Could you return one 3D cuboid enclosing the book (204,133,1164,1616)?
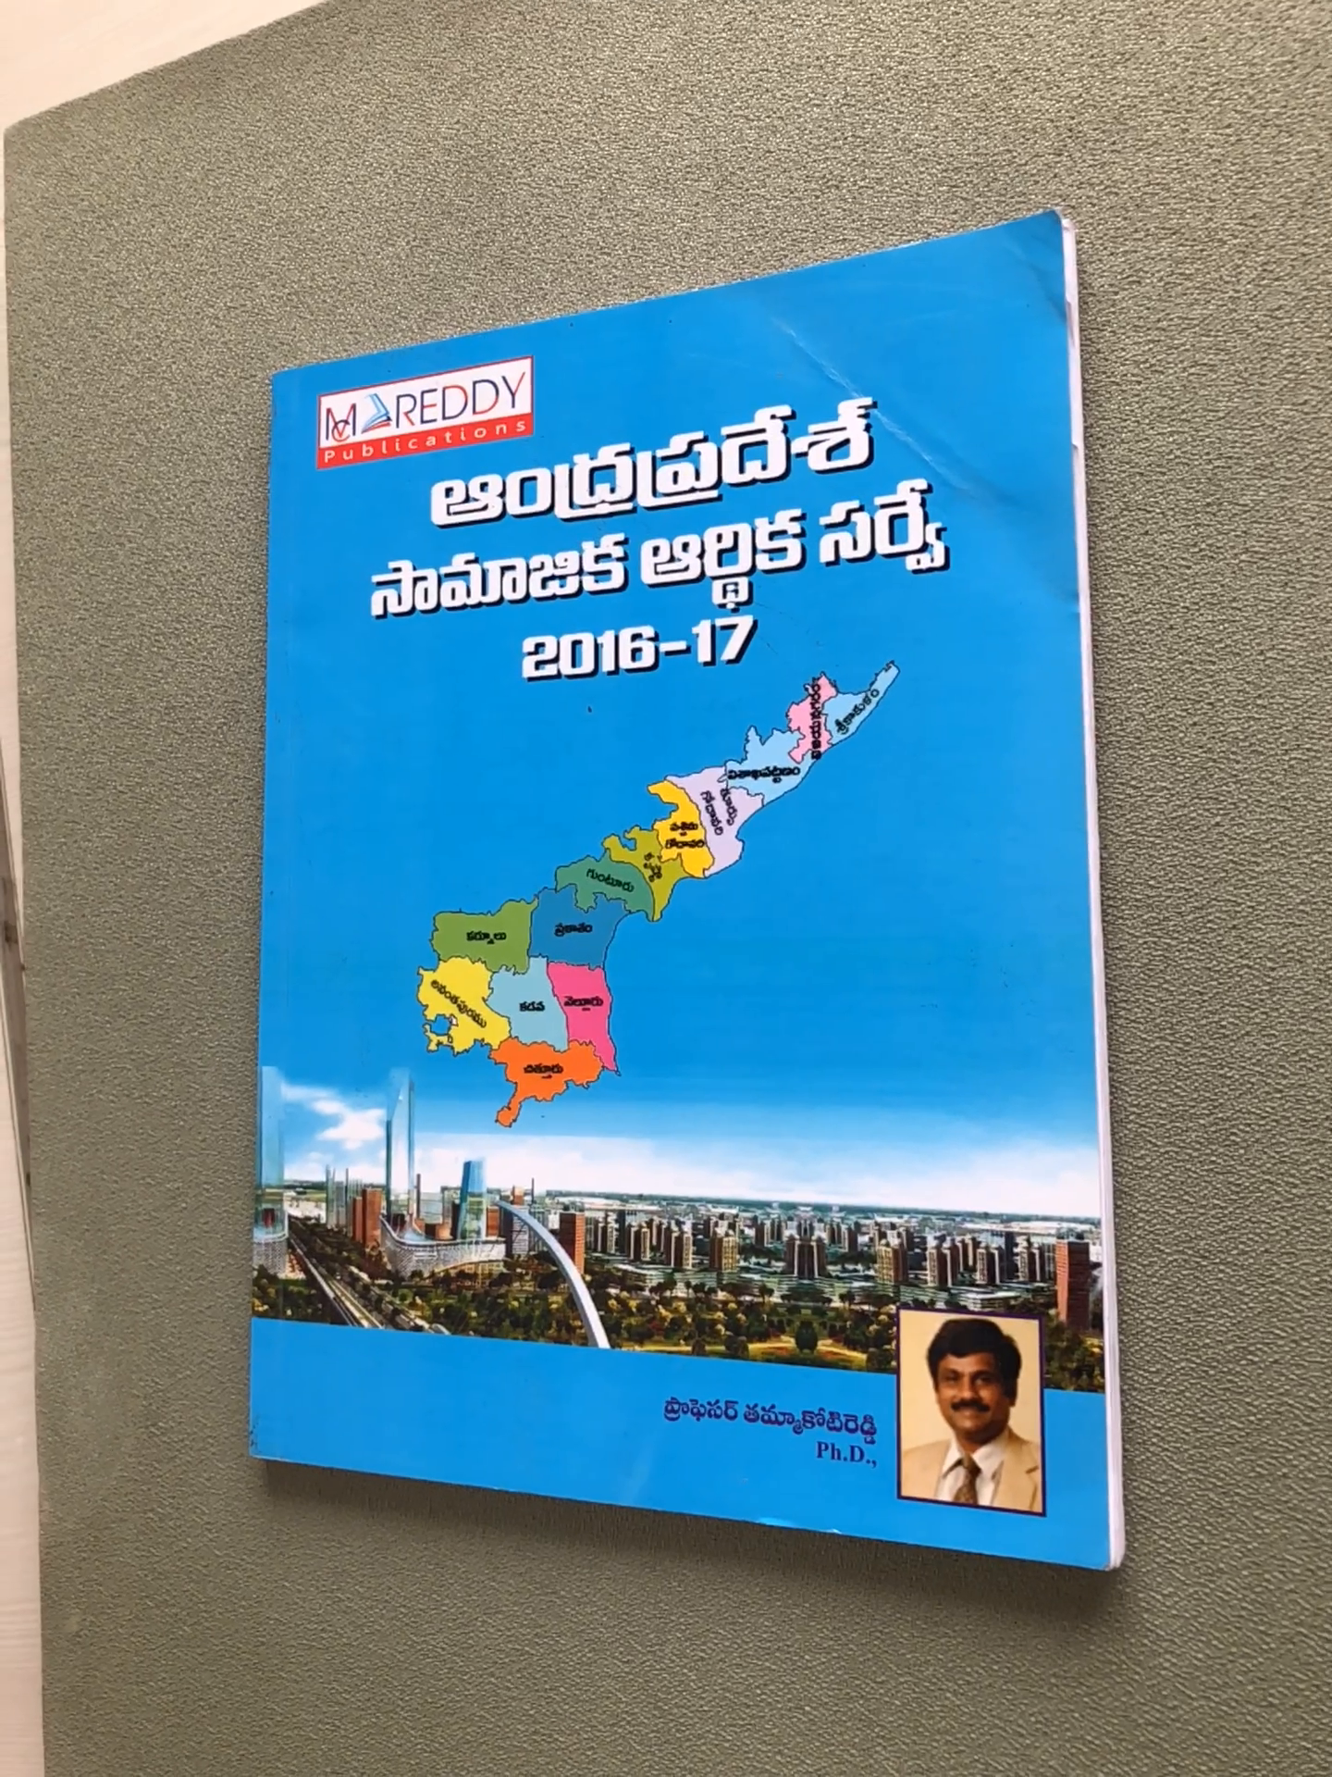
[{"bbox_3d":[-0.005,-0.004,0.281,0.180,0.020,0.240,-2,84,22],"label":"book"}]
